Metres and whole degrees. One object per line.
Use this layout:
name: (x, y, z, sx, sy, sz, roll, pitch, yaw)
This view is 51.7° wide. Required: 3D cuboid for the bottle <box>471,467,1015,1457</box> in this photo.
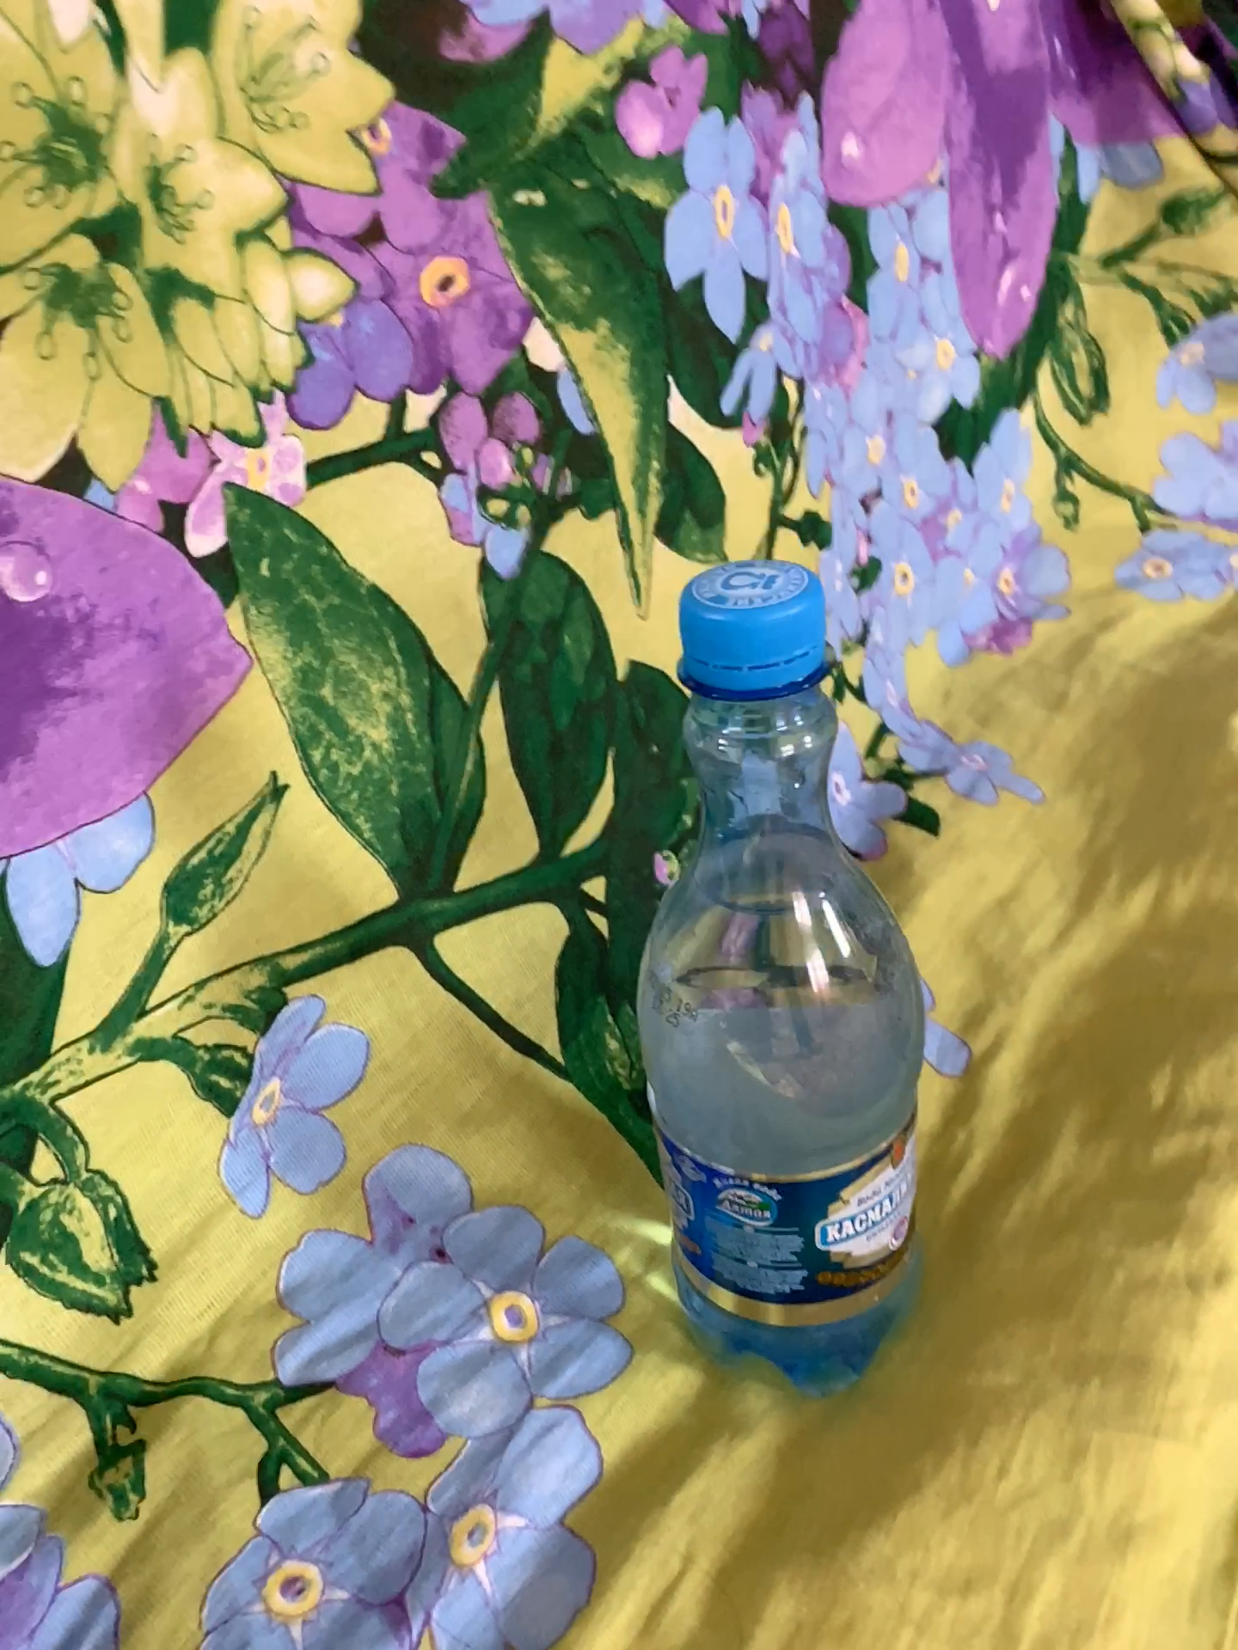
bottle: (0.035, 0.039, 0.306, 0.070, 0.218, 0.080, 23, 44, 37)
